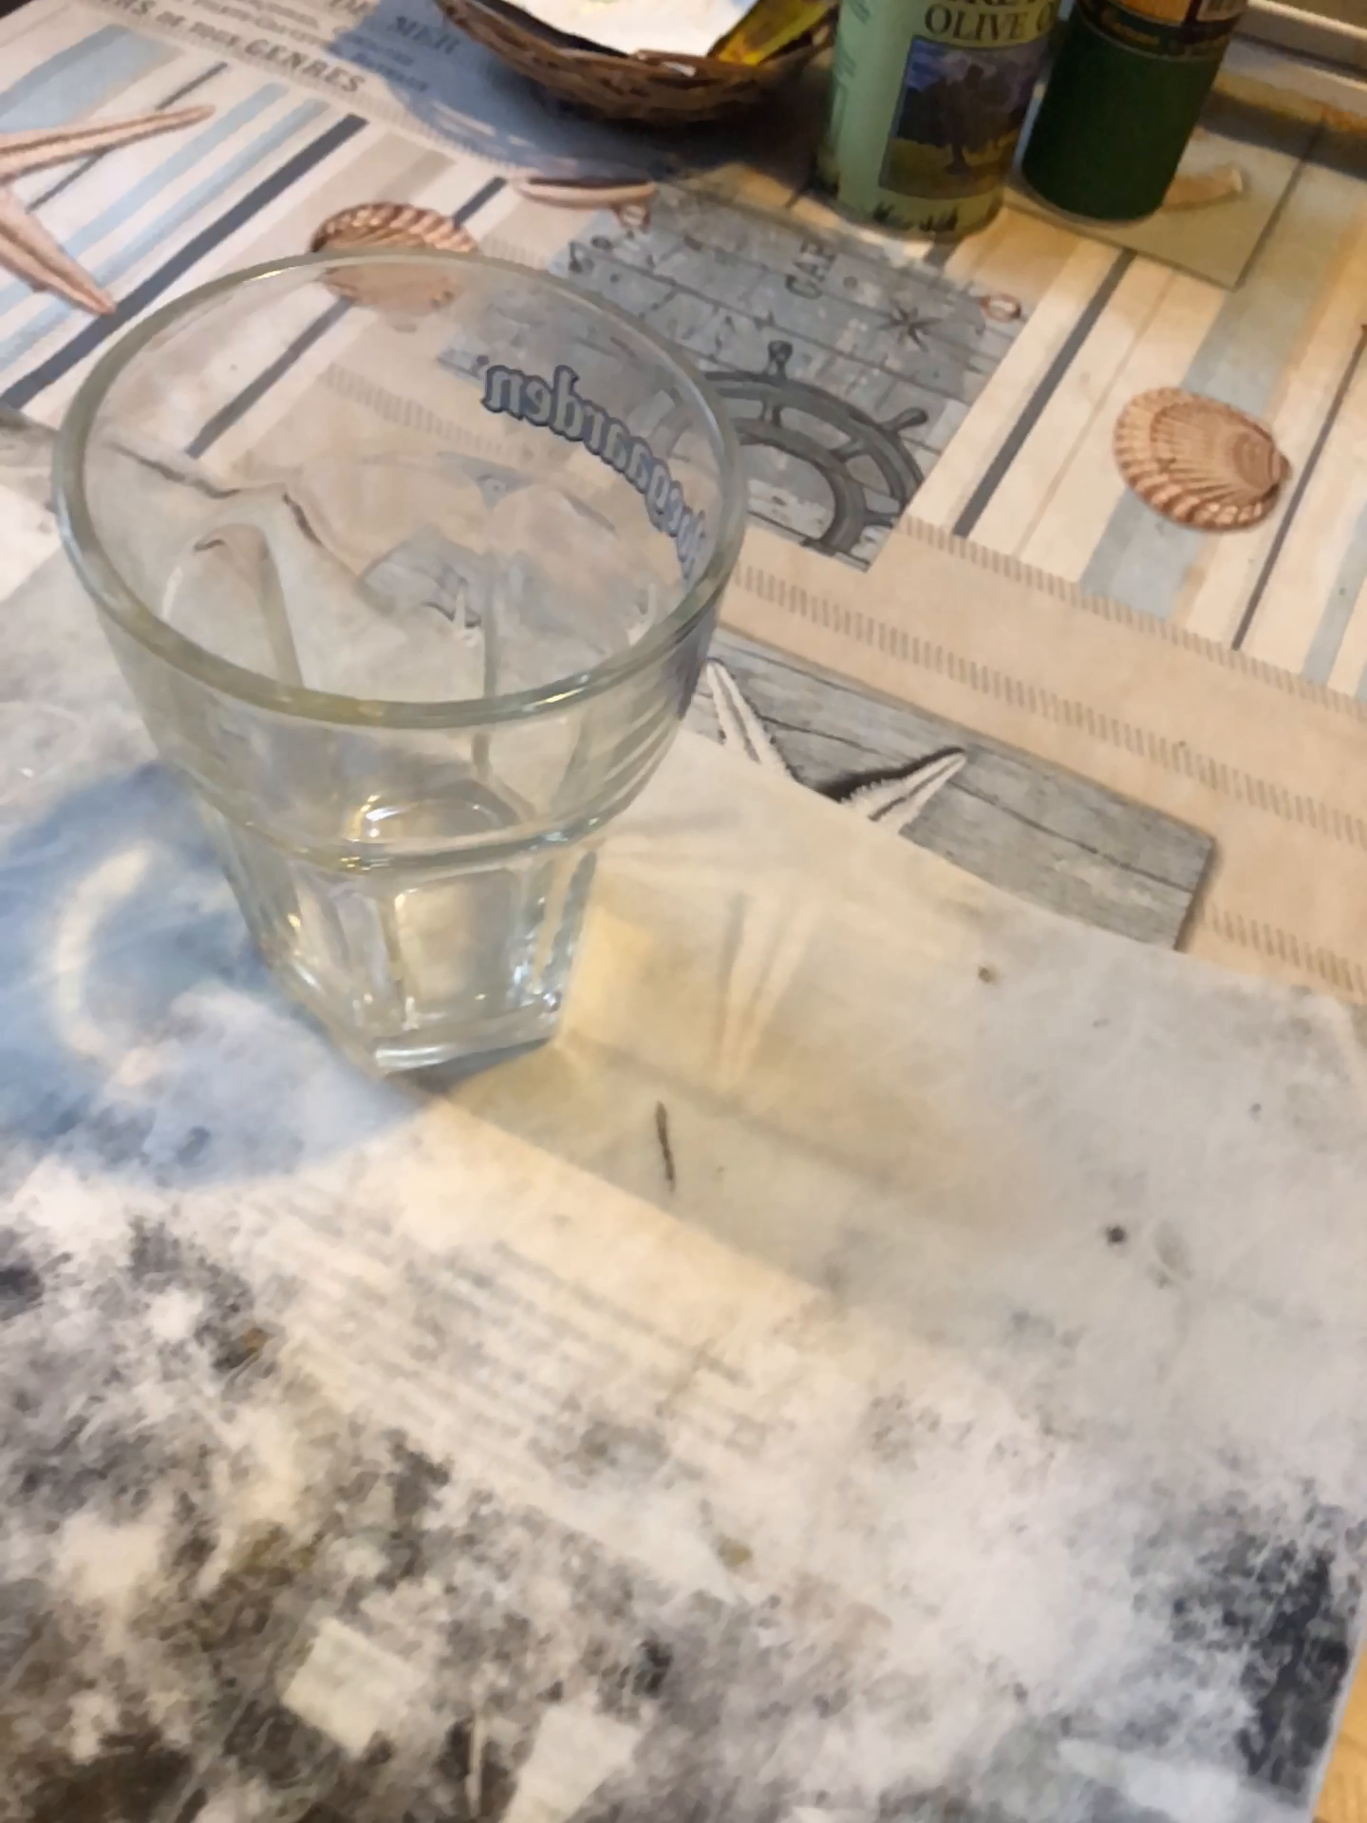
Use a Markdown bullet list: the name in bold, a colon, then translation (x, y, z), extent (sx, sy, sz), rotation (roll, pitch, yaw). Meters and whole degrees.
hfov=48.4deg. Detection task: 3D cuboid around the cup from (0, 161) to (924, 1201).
- **cup**: translation (-0.042, -0.035, 0.269), extent (0.098, 0.123, 0.099), rotation (4, 59, -7)
